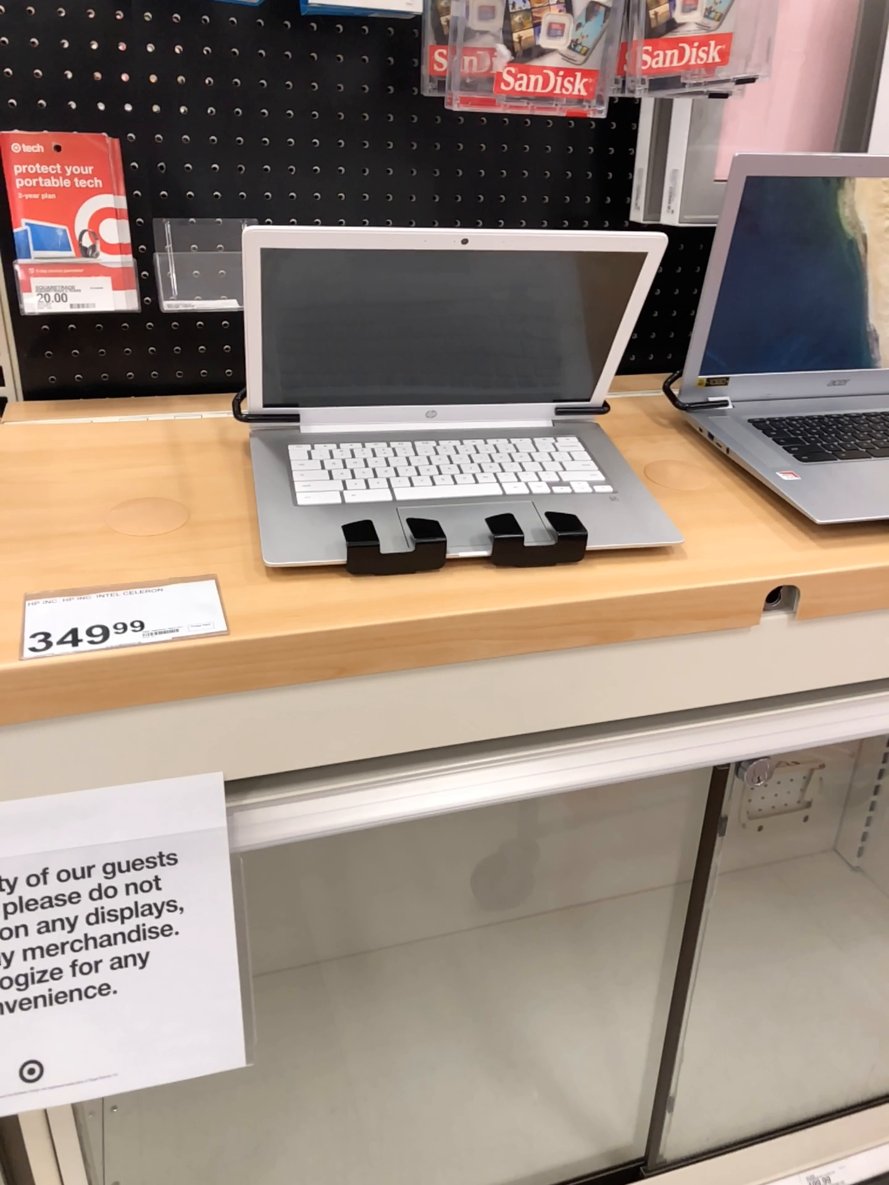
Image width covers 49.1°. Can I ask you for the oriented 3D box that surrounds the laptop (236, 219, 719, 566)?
[{"bbox_3d":[0.011,-0.168,0.767,0.322,0.172,0.201,-4,33,-12],"label":"laptop"}]

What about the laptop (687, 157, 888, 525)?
[{"bbox_3d":[0.429,-0.235,0.855,0.320,0.231,0.231,-6,30,-12],"label":"laptop"}]
